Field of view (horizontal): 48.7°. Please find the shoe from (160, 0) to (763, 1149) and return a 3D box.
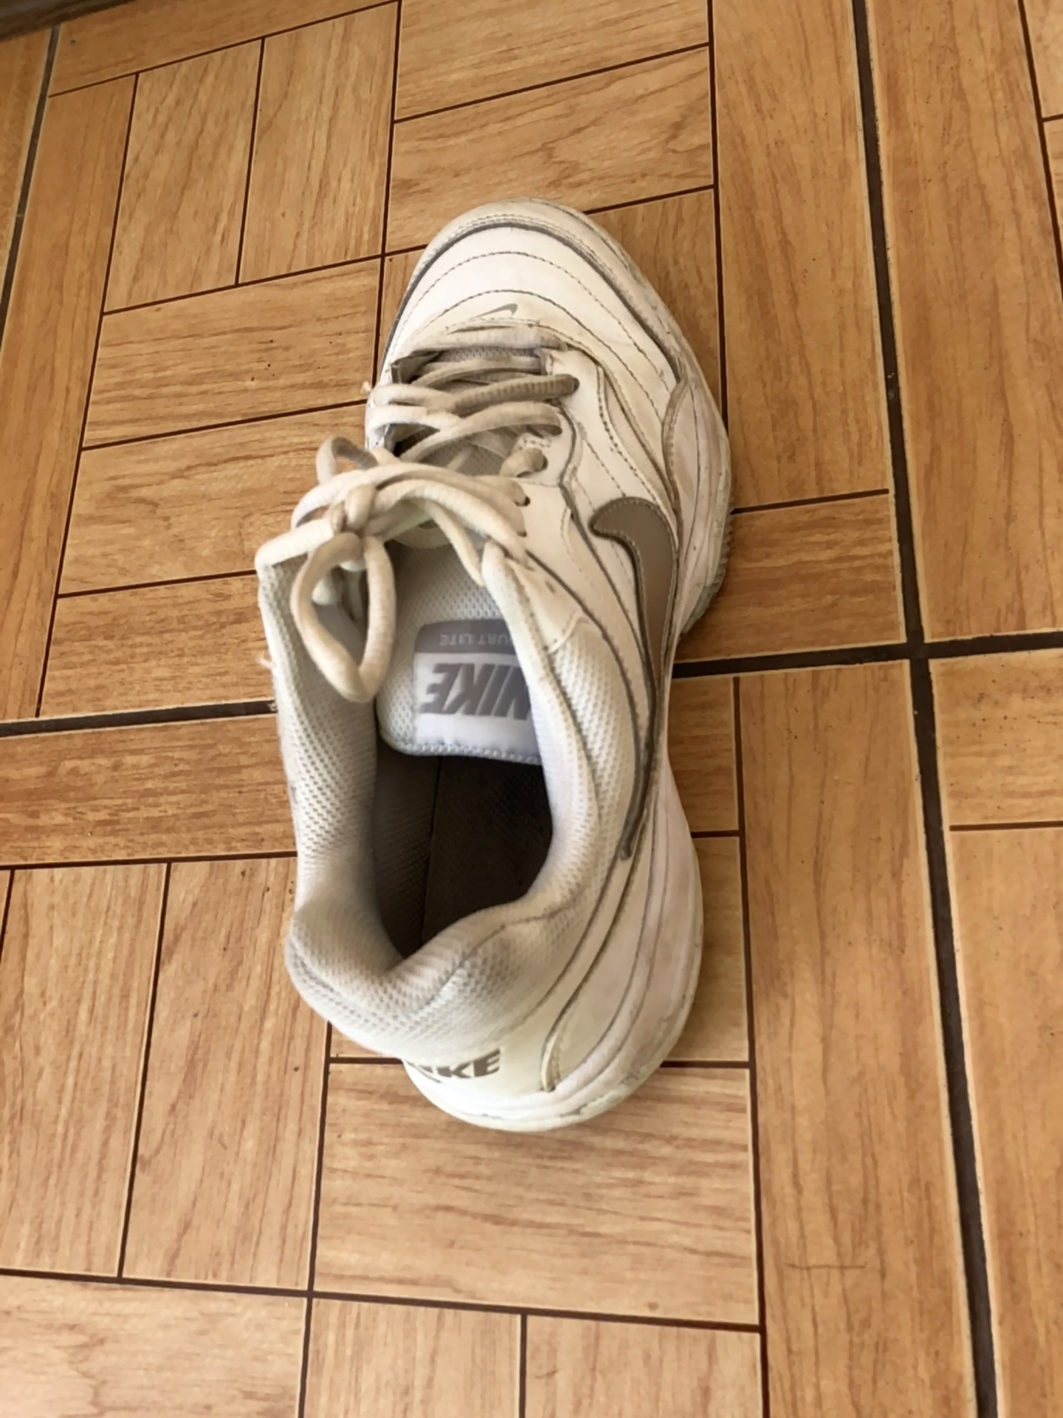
[{"bbox_3d":[-0.007,-0.032,0.292,0.100,0.100,0.260,-5,71,17],"label":"shoe"}]
